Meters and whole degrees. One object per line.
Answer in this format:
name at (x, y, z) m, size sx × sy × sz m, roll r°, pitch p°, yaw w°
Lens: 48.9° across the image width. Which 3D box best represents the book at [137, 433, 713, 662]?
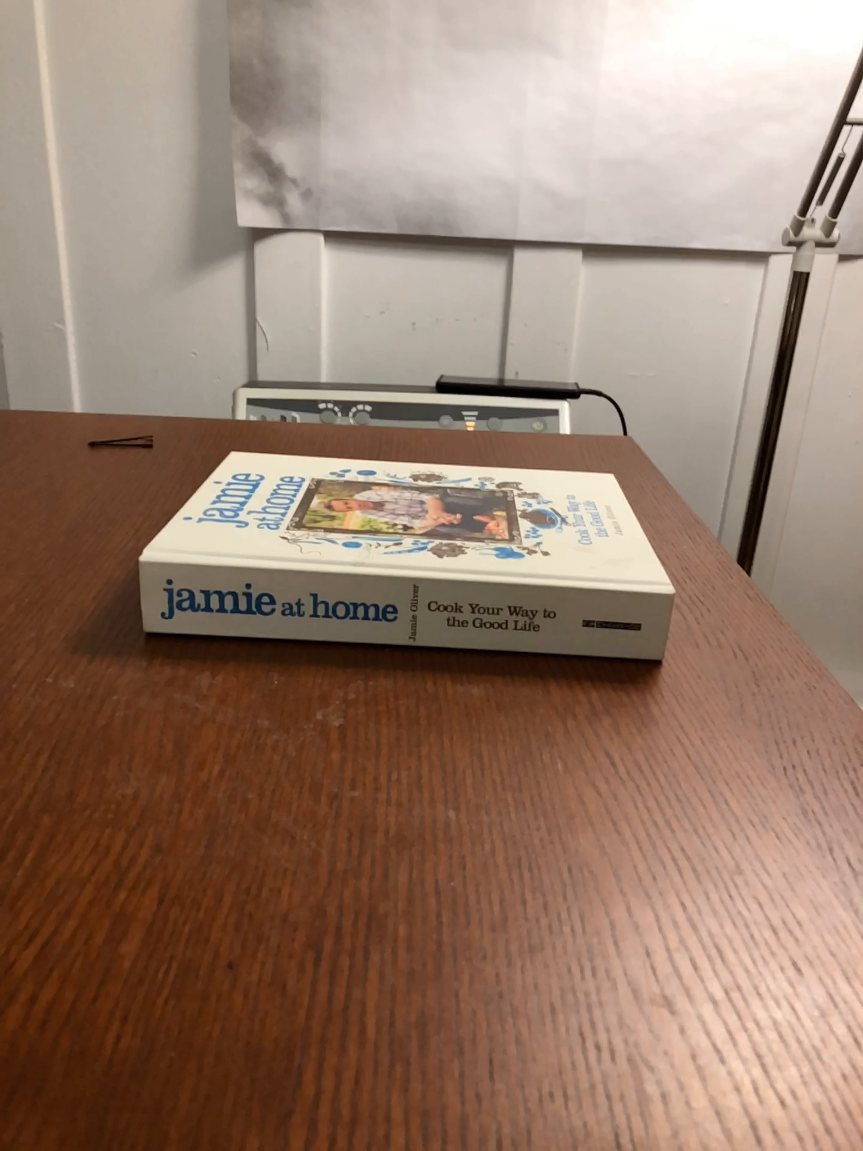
book at (-0.002, -0.026, 0.532) m, size 0.260 × 0.040 × 0.211 m, roll 3°, pitch 23°, yaw 0°
